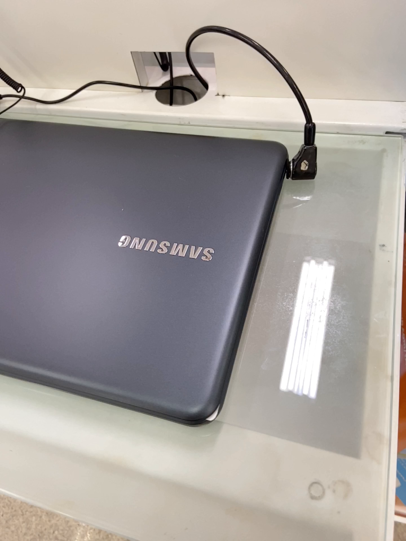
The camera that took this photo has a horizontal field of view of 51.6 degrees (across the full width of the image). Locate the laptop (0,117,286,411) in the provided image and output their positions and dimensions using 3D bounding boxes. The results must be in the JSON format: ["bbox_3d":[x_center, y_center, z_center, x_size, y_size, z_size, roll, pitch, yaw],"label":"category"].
[{"bbox_3d":[-0.130,-0.043,0.345,0.350,0.001,0.233,10,58,16],"label":"laptop"}]
